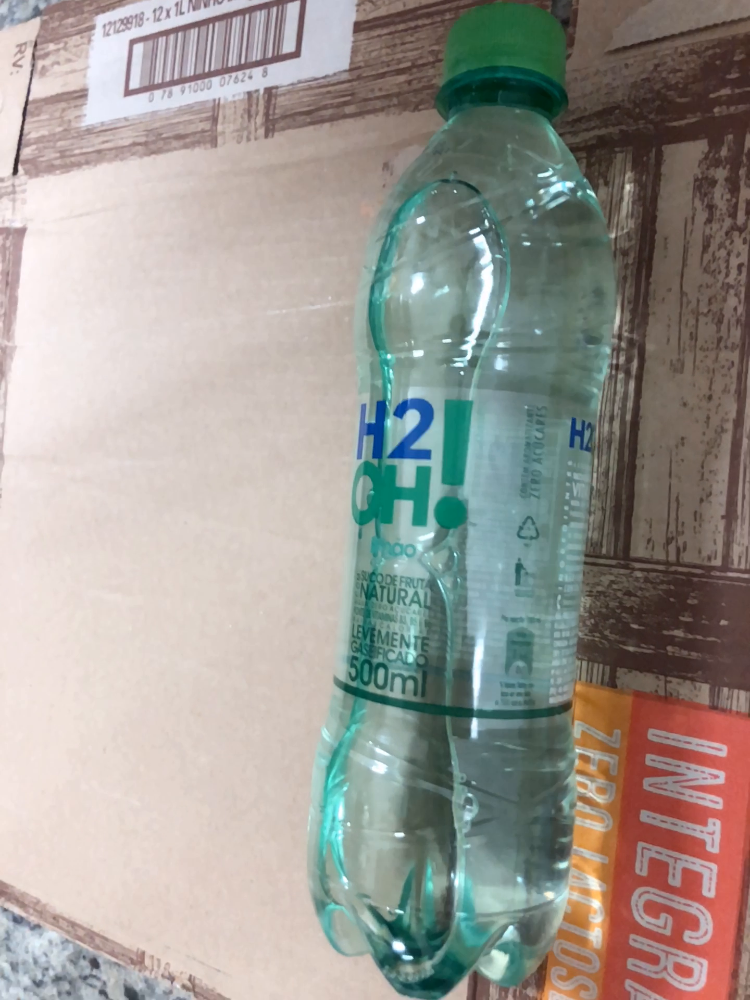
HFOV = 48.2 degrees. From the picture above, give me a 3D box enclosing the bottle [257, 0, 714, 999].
[{"bbox_3d":[0.028,-0.009,0.199,0.070,0.050,0.250,5,88,30],"label":"bottle"}]
